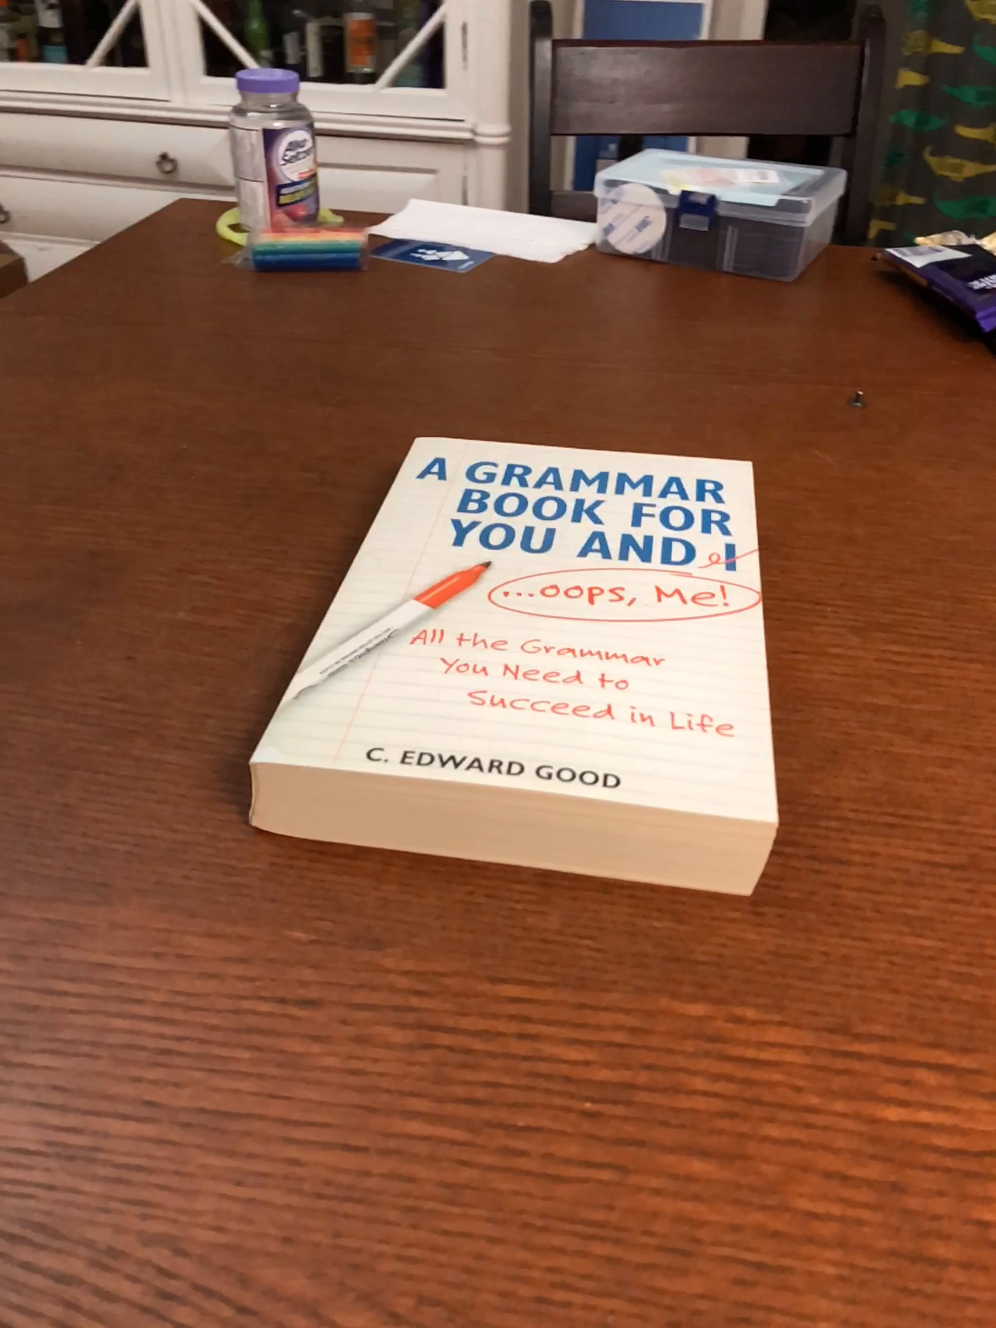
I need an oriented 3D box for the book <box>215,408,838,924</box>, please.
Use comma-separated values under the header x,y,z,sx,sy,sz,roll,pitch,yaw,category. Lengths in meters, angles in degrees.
x,y,z,sx,sy,sz,roll,pitch,yaw,category
0.024,-0.022,0.405,0.170,0.040,0.241,6,36,7,book
